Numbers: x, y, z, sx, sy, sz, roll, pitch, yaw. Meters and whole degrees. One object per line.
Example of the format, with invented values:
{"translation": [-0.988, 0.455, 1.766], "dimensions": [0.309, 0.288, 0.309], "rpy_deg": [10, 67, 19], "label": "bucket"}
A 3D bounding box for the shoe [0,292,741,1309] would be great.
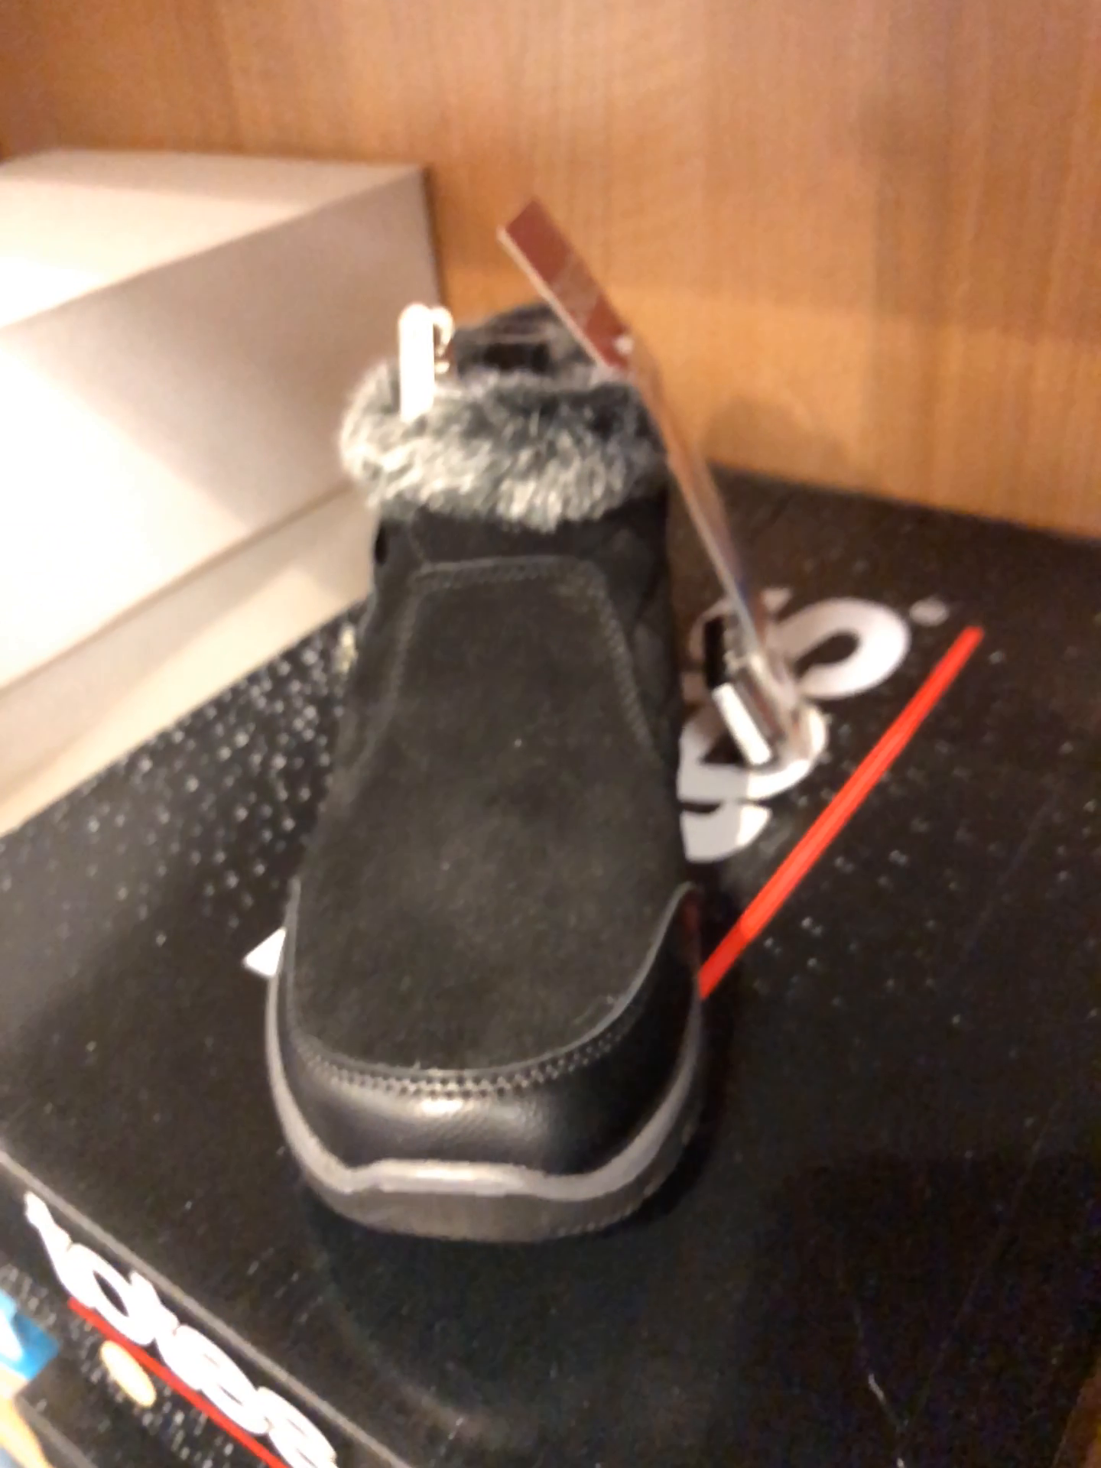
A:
{"translation": [-0.013, -0.011, 0.305], "dimensions": [0.105, 0.112, 0.250], "rpy_deg": [-1, 35, 6], "label": "shoe"}
